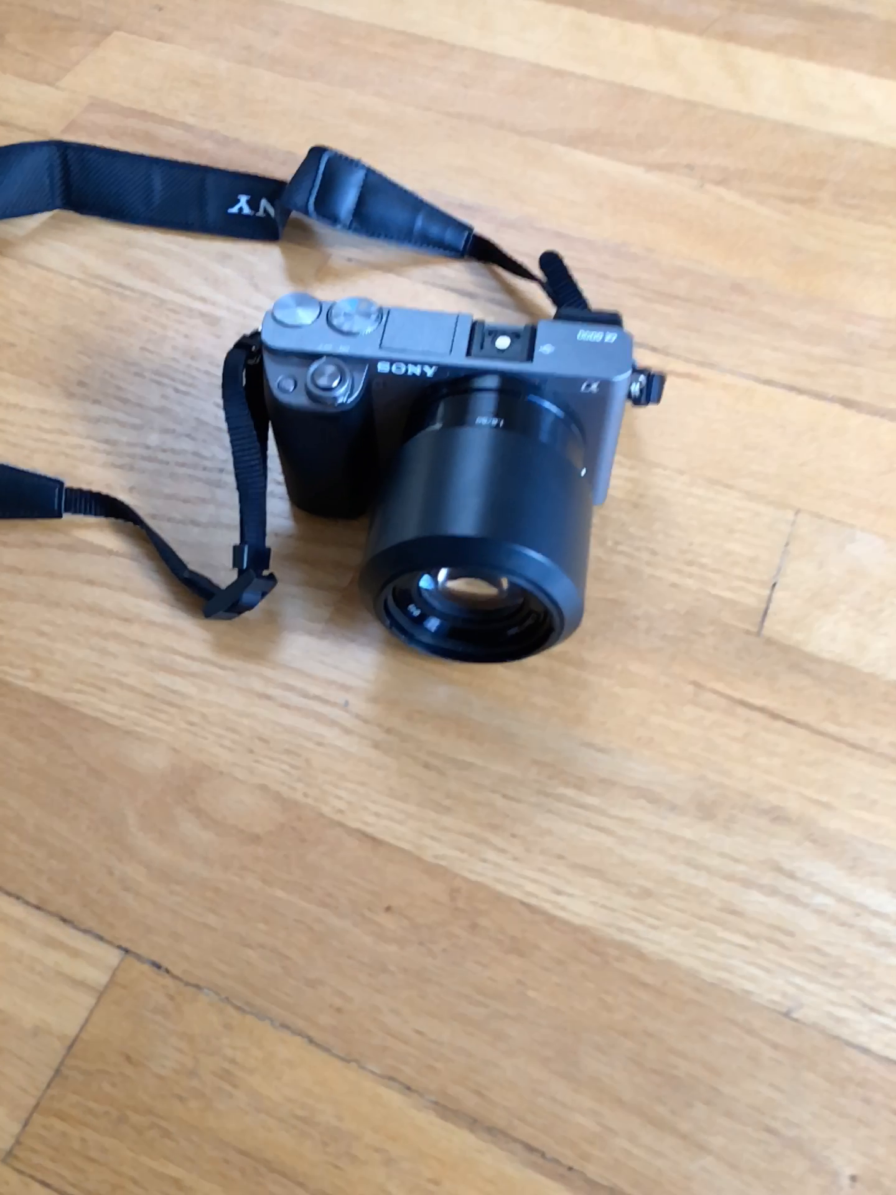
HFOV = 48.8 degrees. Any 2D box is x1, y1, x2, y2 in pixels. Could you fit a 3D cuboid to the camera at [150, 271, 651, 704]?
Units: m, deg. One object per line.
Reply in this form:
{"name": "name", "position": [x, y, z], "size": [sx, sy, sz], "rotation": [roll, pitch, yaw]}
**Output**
{"name": "camera", "position": [-0.007, -0.037, 0.327], "size": [0.136, 0.079, 0.107], "rotation": [5, 56, 4]}
